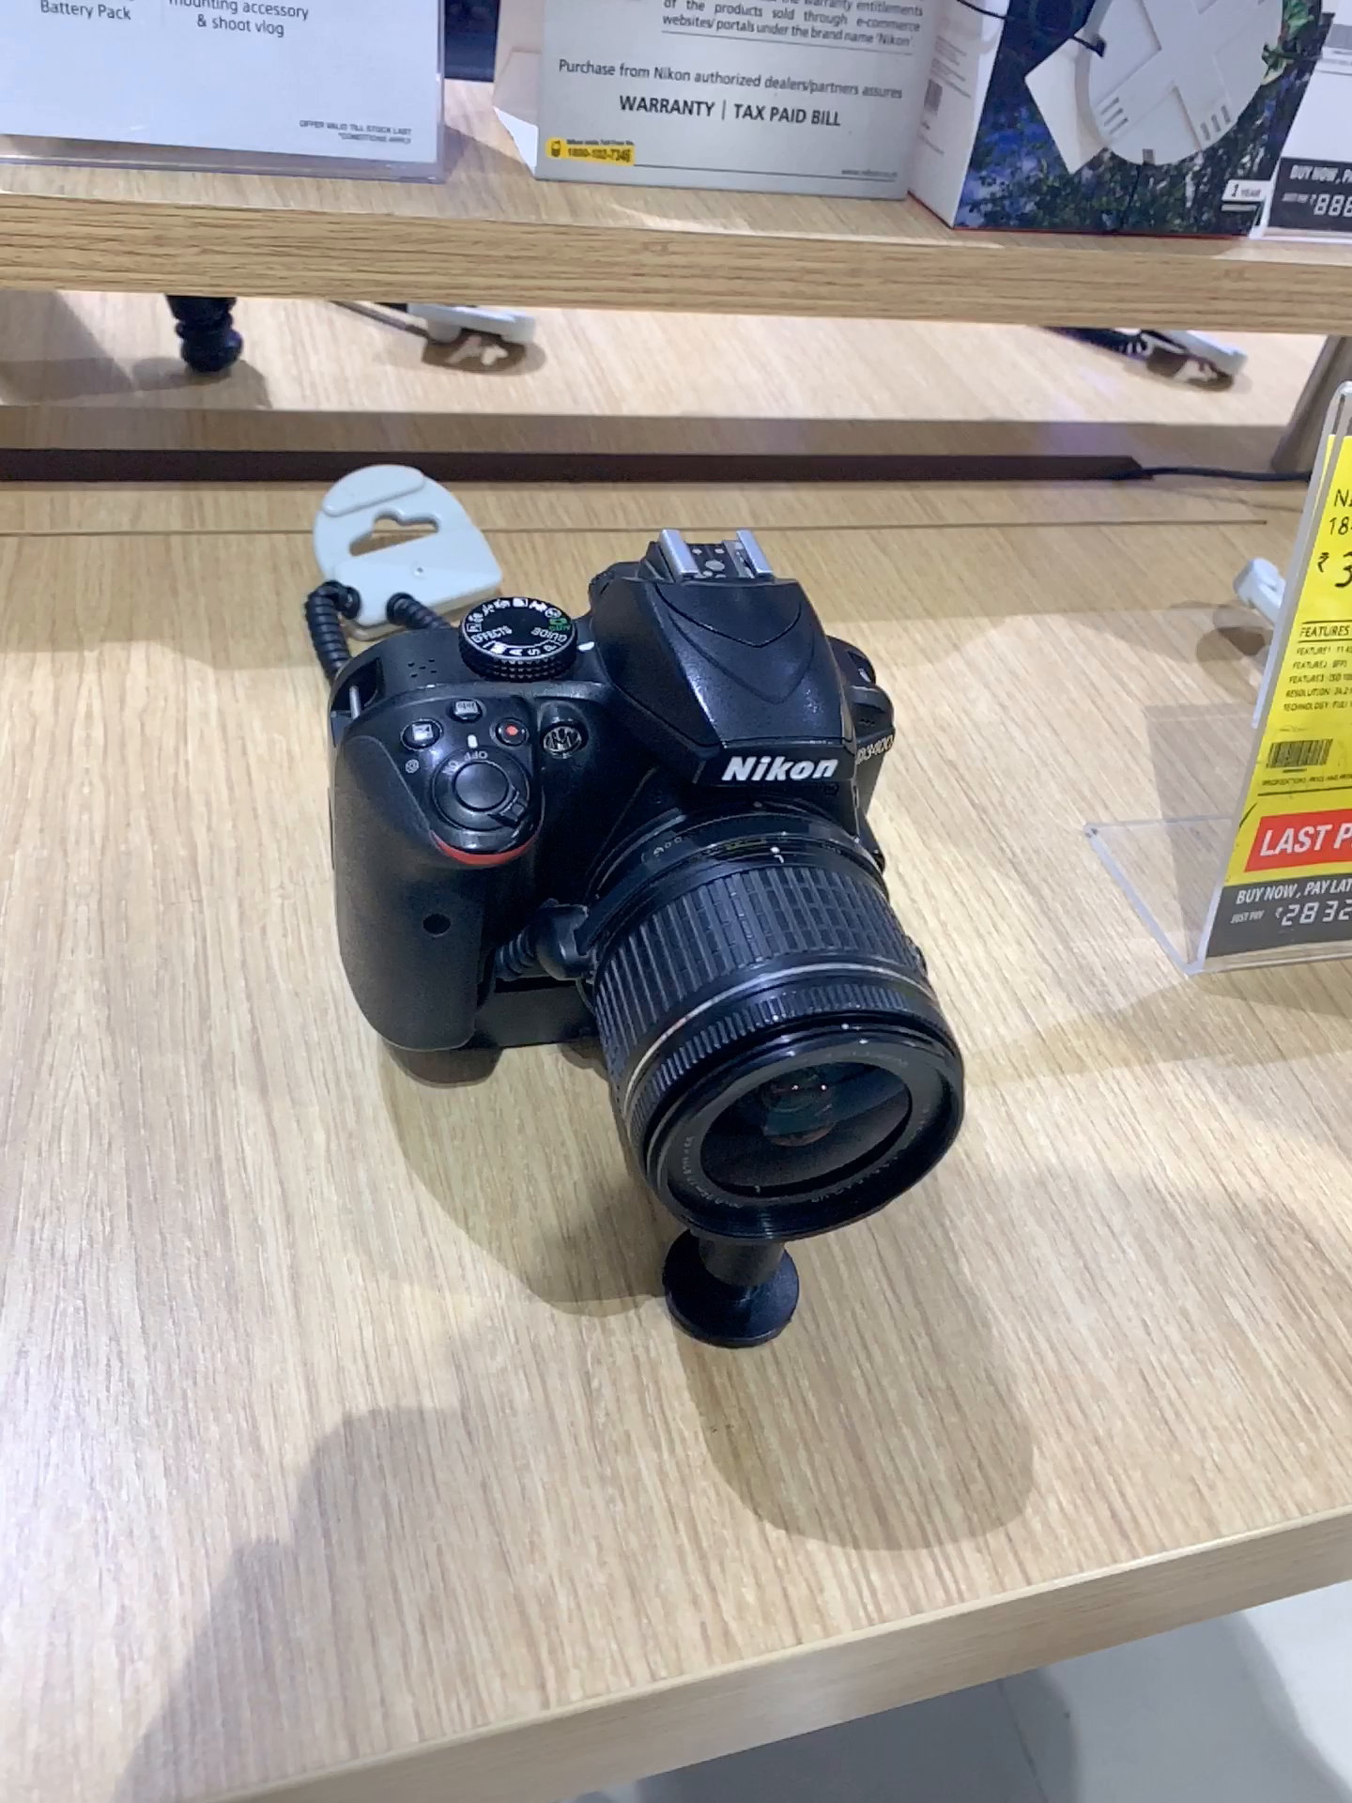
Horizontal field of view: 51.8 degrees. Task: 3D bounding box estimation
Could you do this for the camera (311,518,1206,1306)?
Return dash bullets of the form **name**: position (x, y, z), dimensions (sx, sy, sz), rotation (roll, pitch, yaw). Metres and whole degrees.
- **camera**: position (0.001, -0.005, 0.234), dimensions (0.110, 0.073, 0.100), rotation (-5, 44, -20)
